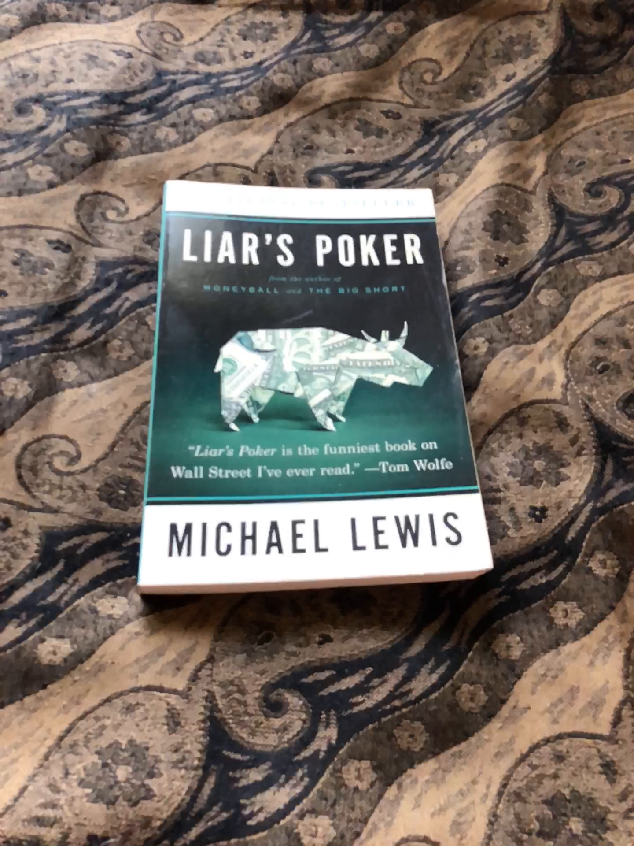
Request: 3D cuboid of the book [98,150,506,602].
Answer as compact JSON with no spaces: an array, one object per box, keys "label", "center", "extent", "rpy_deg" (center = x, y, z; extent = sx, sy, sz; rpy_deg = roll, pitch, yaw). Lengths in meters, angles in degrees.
[{"label":"book","center":[-0.006,-0.029,0.320],"extent":[0.150,0.040,0.210],"rpy_deg":[1,65,-3]}]
